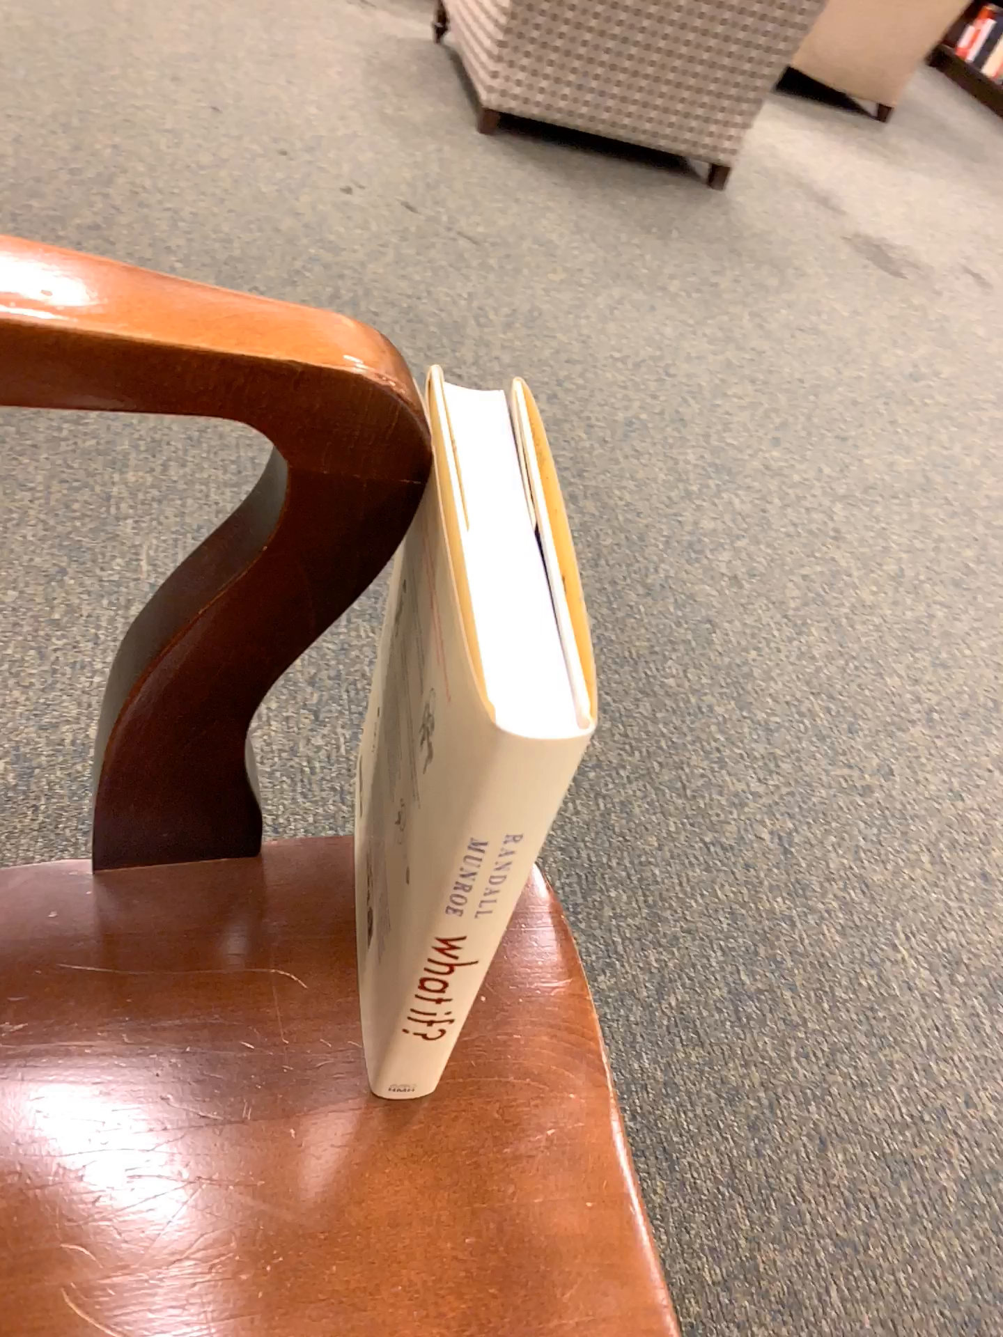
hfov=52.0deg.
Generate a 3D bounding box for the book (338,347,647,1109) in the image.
[{"bbox_3d":[-0.025,0.032,0.408,0.050,0.239,0.188,4,45,-14],"label":"book"}]
